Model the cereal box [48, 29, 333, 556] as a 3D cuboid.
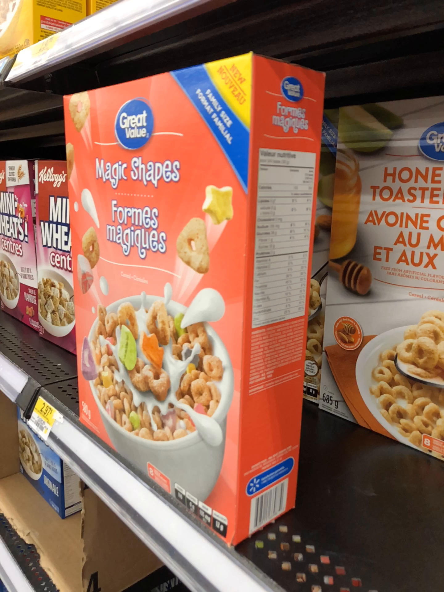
[{"bbox_3d":[-0.045,-0.012,0.405,0.070,0.319,0.261,-11,18,-40],"label":"cereal box"}]
